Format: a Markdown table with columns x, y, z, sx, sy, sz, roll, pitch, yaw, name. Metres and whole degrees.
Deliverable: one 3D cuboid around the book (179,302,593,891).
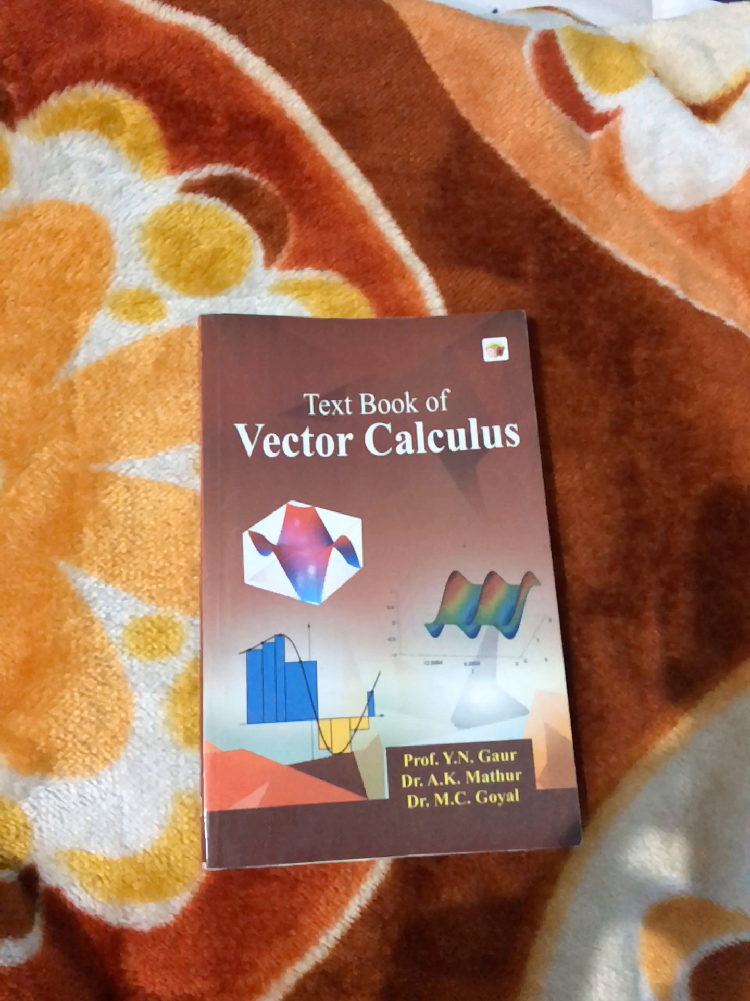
| x | y | z | sx | sy | sz | roll | pitch | yaw | name |
| --- | --- | --- | --- | --- | --- | --- | --- | --- | --- |
| -0.001 | 0.027 | 0.319 | 0.140 | 0.020 | 0.210 | -2 | 76 | -5 | book |
